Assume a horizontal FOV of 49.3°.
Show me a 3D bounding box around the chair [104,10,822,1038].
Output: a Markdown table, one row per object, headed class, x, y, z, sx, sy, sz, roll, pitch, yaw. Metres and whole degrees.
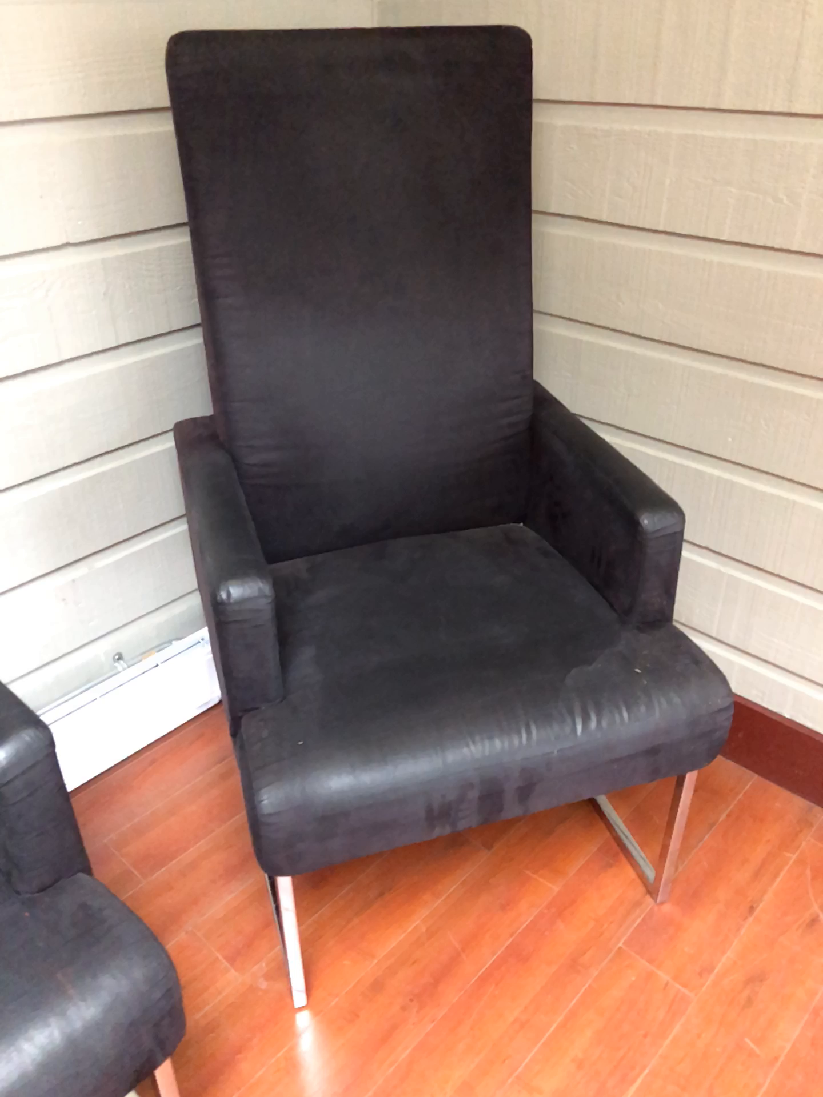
| class | x | y | z | sx | sy | sz | roll | pitch | yaw |
| --- | --- | --- | --- | --- | --- | --- | --- | --- | --- |
| chair | 0.022 | -0.086 | 1.207 | 0.630 | 1.082 | 0.705 | -10 | 32 | -15 |
